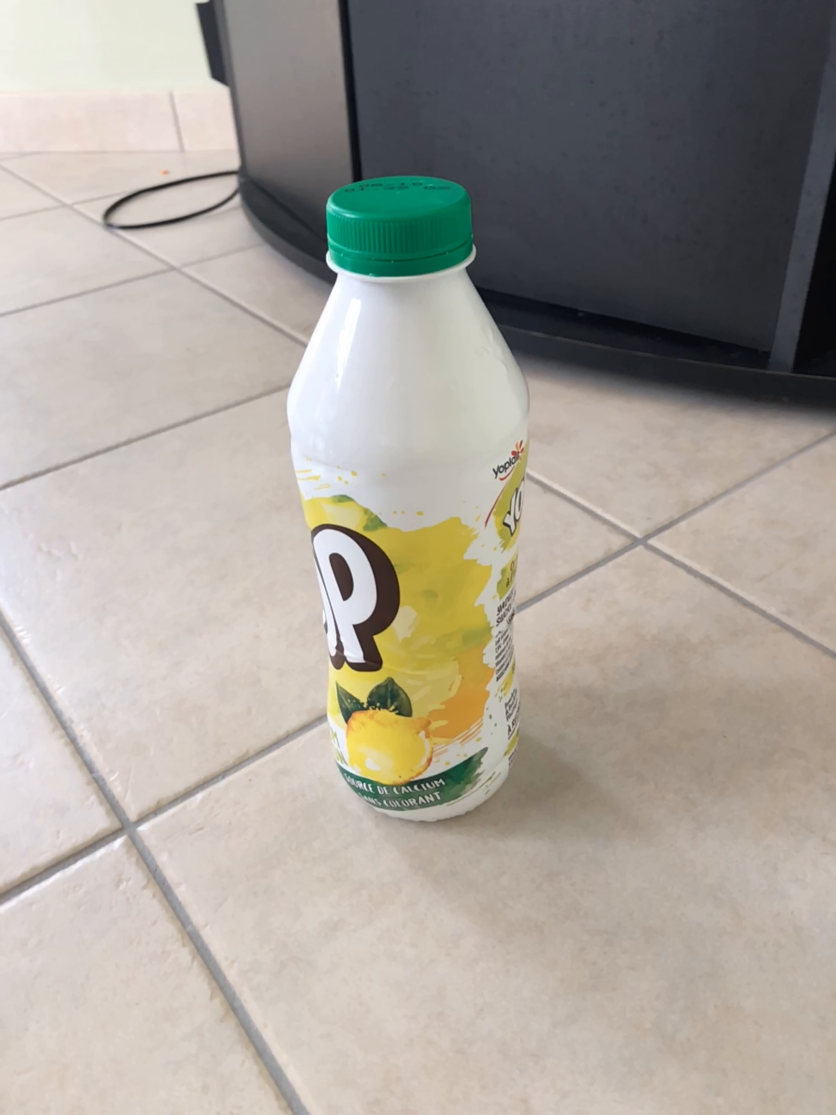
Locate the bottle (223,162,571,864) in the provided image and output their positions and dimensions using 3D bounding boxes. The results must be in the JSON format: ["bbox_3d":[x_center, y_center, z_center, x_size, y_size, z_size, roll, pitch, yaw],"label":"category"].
[{"bbox_3d":[-0.004,-0.005,0.327,0.080,0.229,0.080,-2,36,2],"label":"bottle"}]
